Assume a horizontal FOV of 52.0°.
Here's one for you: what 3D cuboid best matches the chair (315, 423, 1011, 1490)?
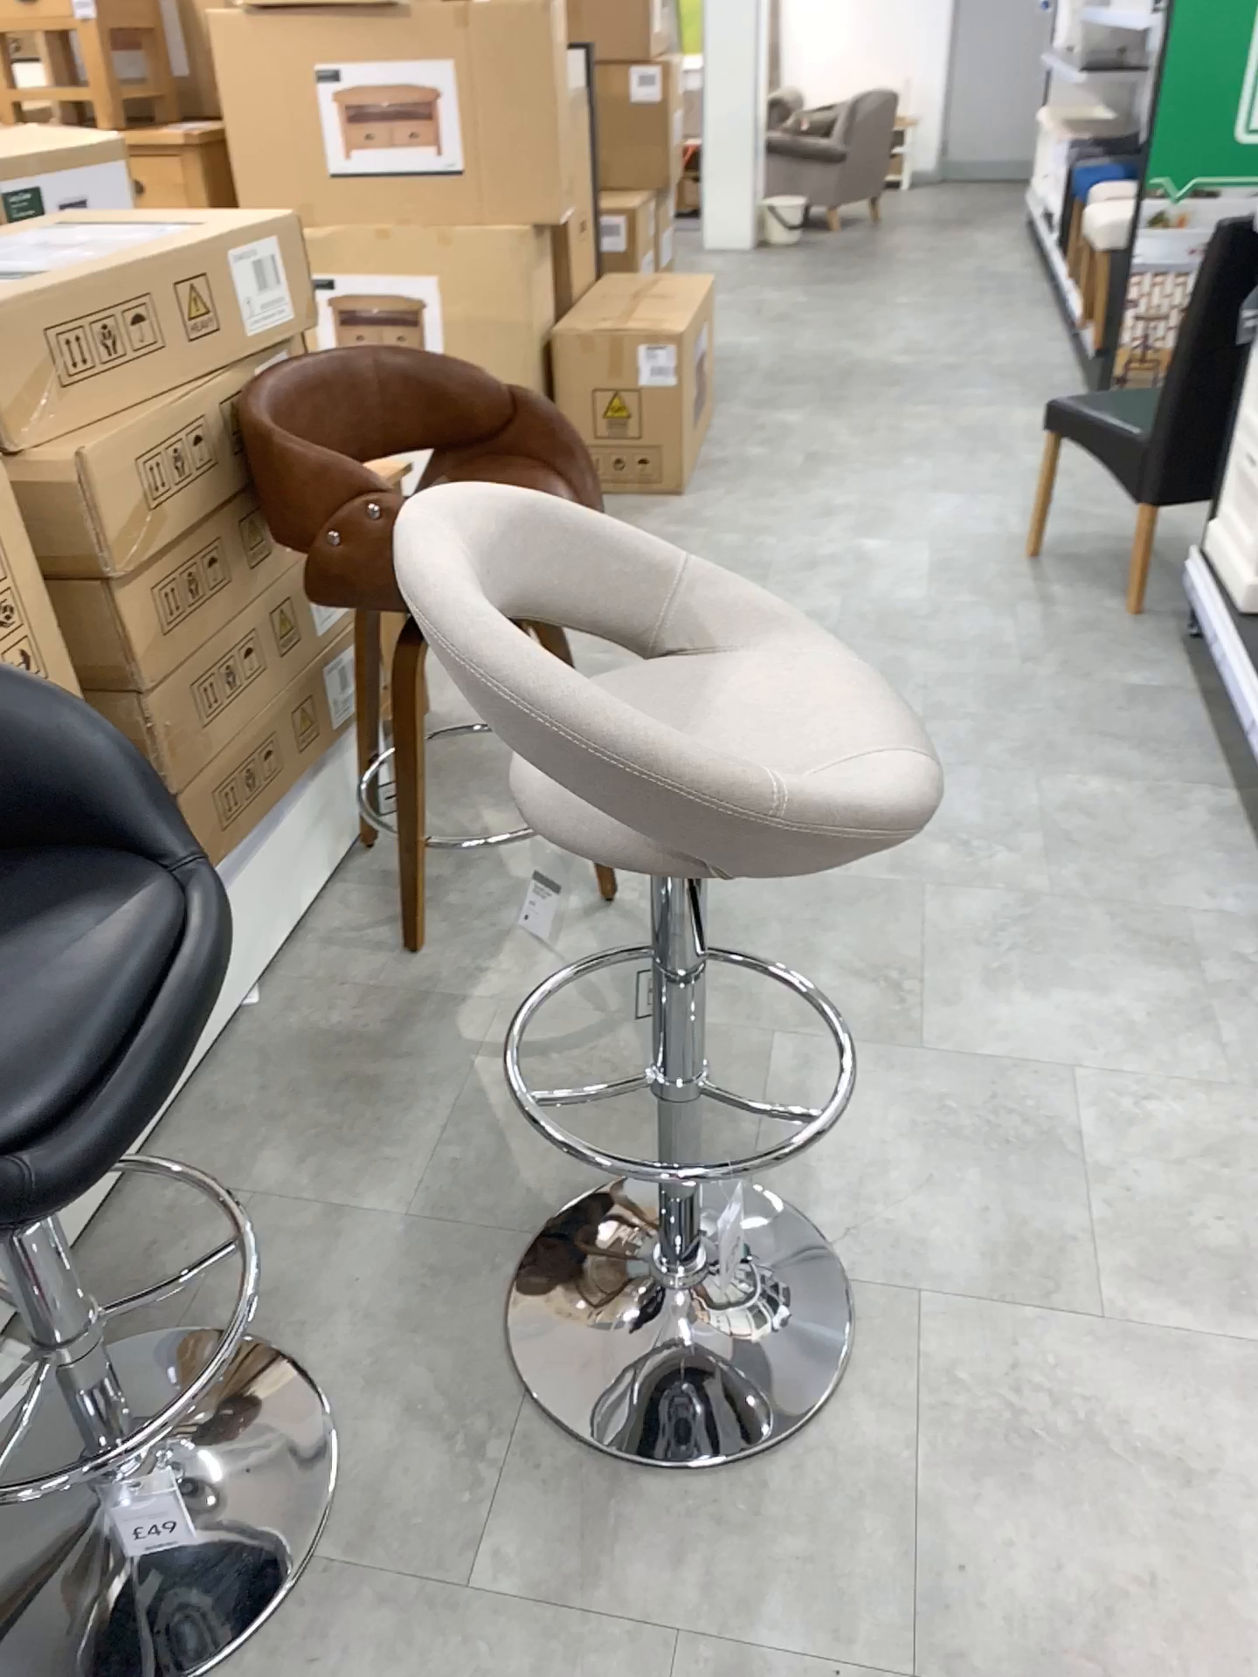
[{"bbox_3d":[0.047,0.140,1.323,0.464,0.978,0.488,0,32,4],"label":"chair"}]

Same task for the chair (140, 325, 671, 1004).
[{"bbox_3d":[-0.309,-0.312,2.170,0.575,0.909,0.538,14,35,23],"label":"chair"}]

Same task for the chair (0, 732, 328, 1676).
[{"bbox_3d":[-0.598,0.554,0.690,0.484,1.008,0.538,14,35,23],"label":"chair"}]

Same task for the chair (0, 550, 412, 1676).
[{"bbox_3d":[-0.539,0.284,1.153,0.484,0.939,0.498,0,32,4],"label":"chair"}]
